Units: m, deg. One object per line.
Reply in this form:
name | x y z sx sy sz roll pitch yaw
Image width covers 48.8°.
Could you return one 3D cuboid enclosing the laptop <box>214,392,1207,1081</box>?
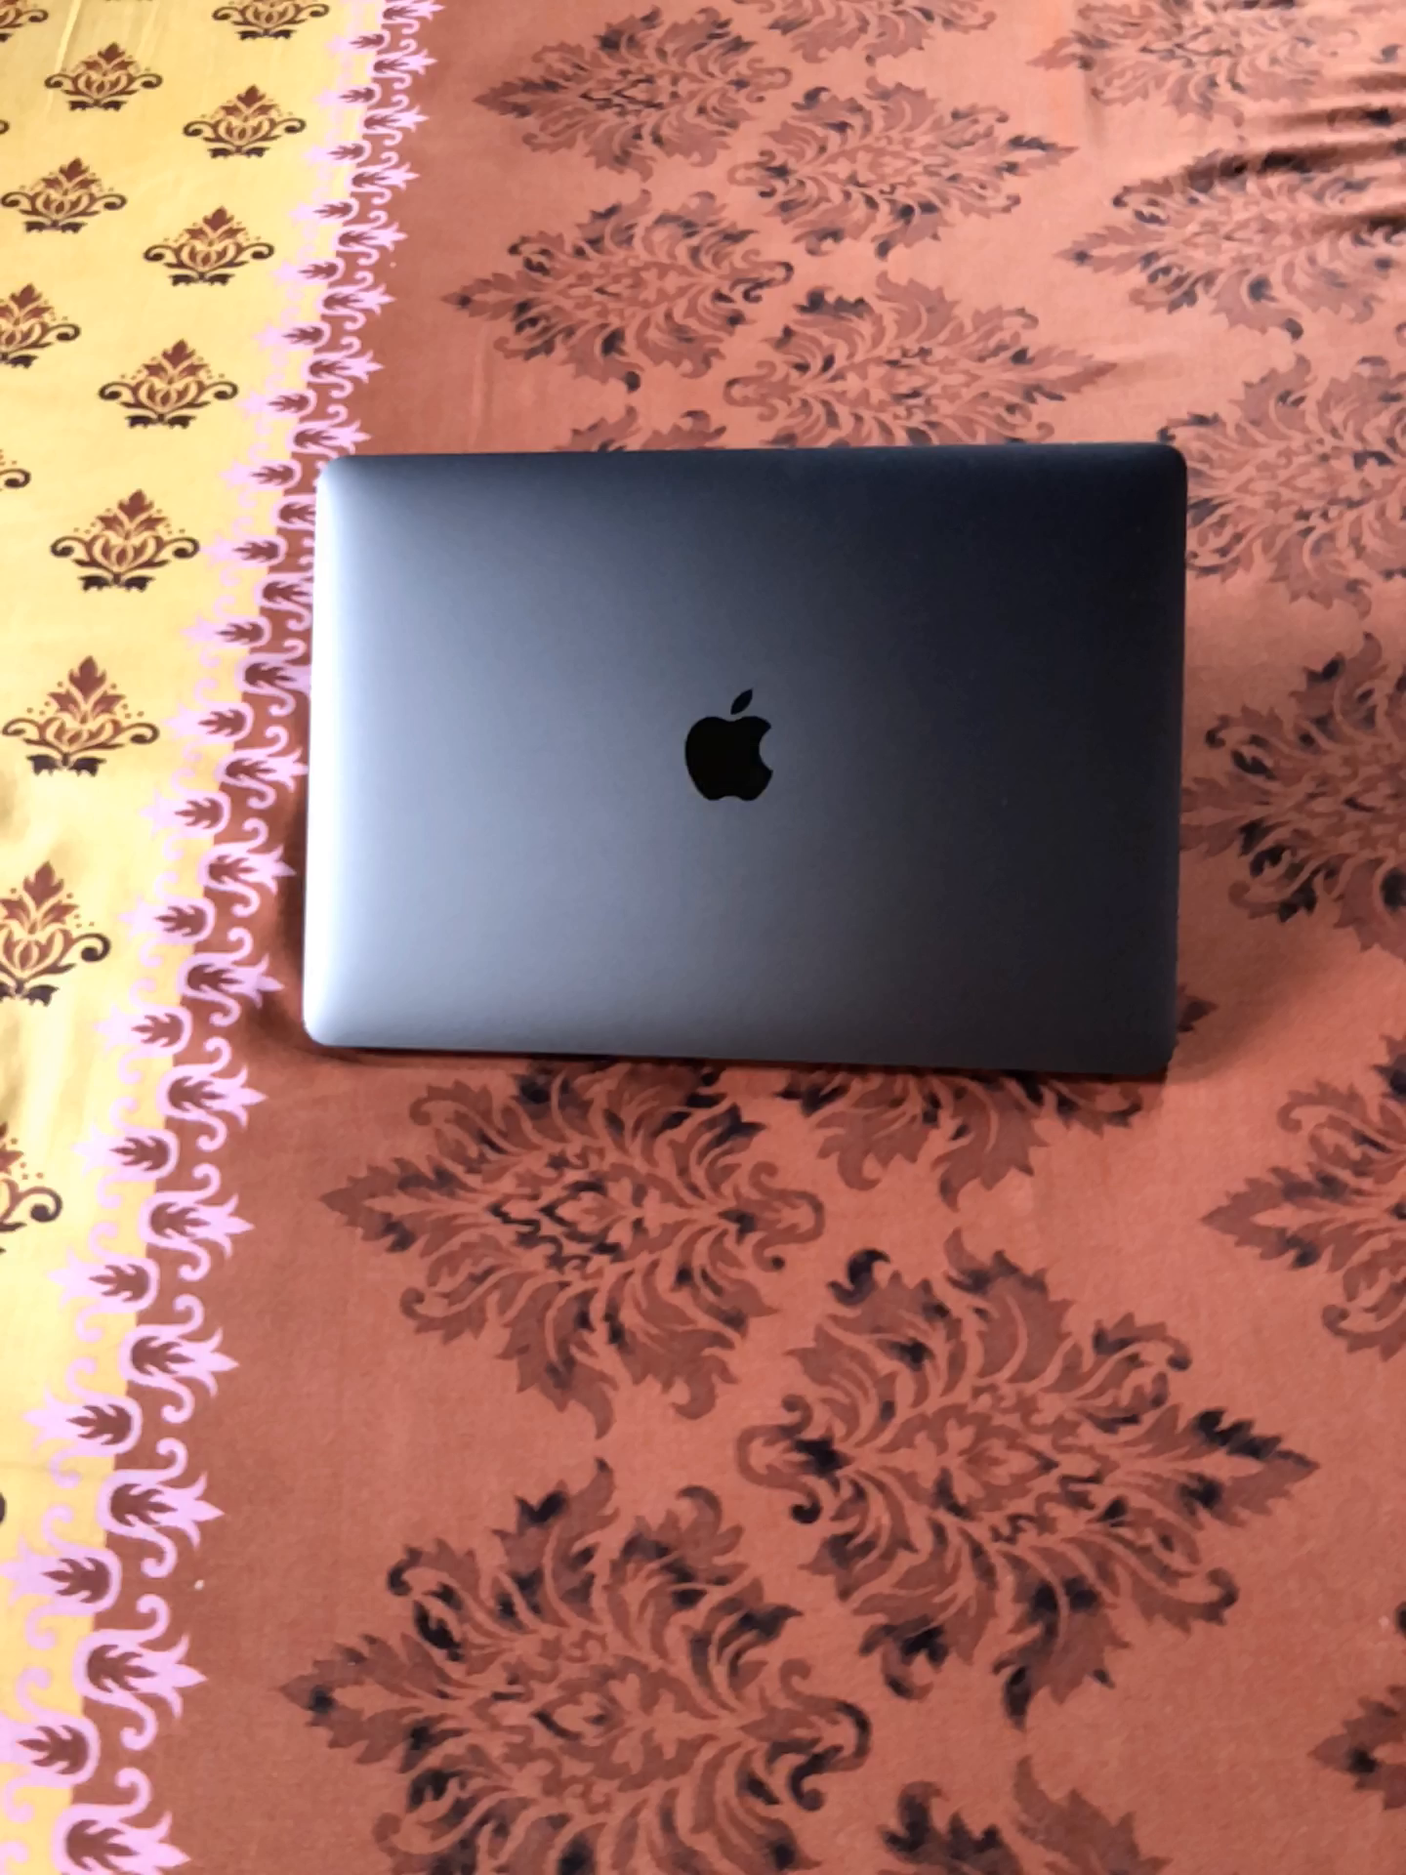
laptop | 0.011 -0.071 0.526 0.285 0.093 0.204 2 65 7
